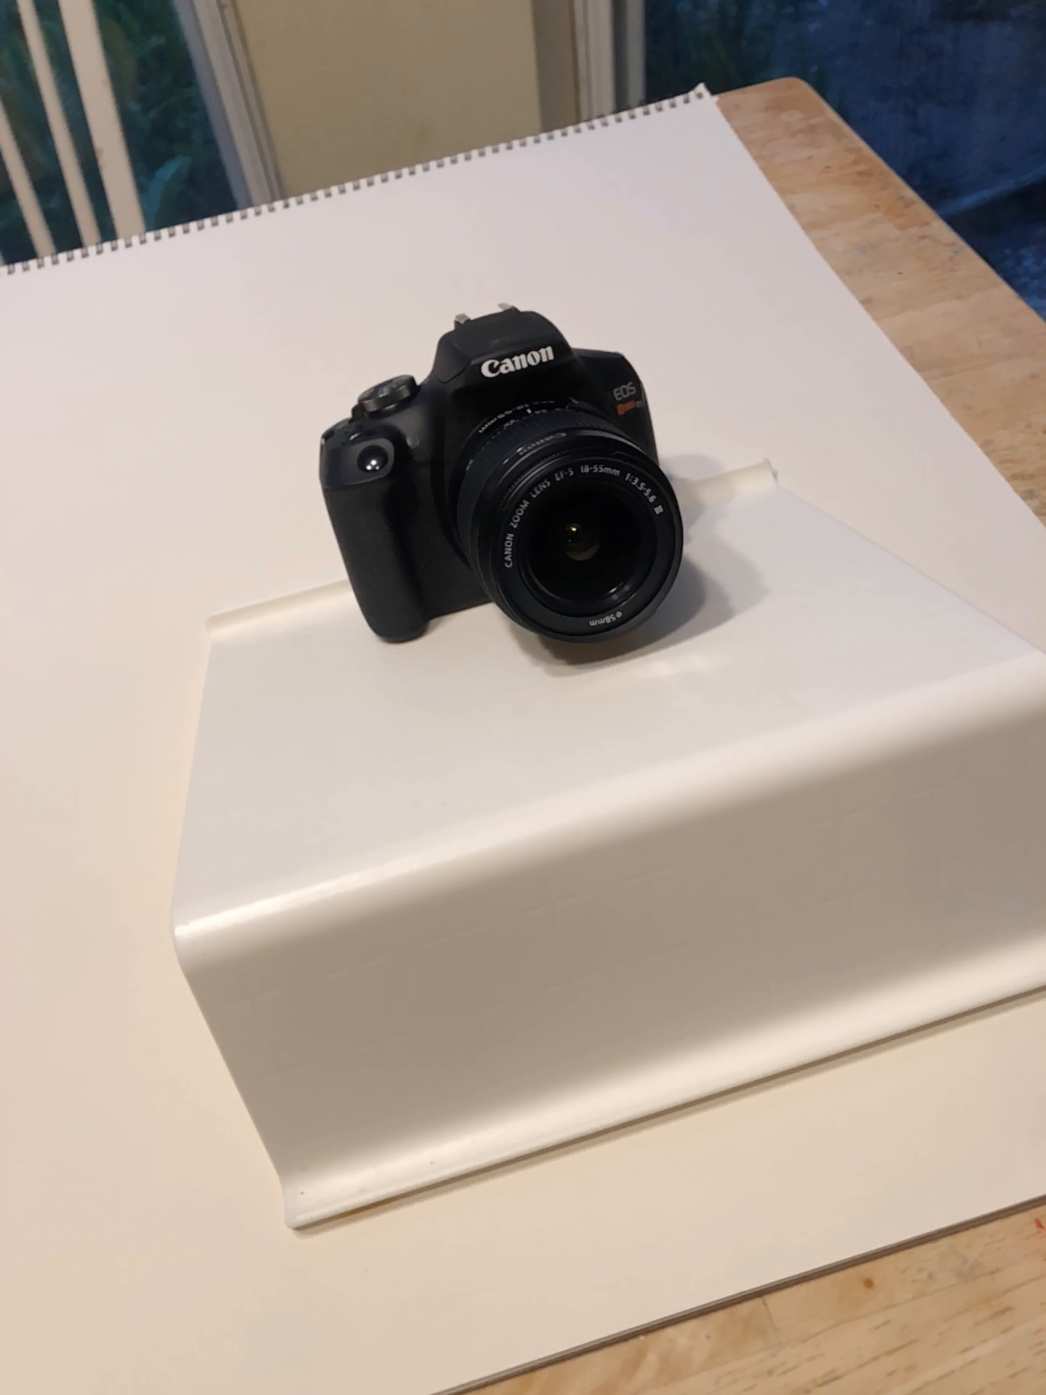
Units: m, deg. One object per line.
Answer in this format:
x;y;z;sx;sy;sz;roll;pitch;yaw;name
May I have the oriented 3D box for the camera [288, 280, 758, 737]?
-0.007;-0.077;0.412;0.125;0.104;0.141;-15;24;-5;camera
